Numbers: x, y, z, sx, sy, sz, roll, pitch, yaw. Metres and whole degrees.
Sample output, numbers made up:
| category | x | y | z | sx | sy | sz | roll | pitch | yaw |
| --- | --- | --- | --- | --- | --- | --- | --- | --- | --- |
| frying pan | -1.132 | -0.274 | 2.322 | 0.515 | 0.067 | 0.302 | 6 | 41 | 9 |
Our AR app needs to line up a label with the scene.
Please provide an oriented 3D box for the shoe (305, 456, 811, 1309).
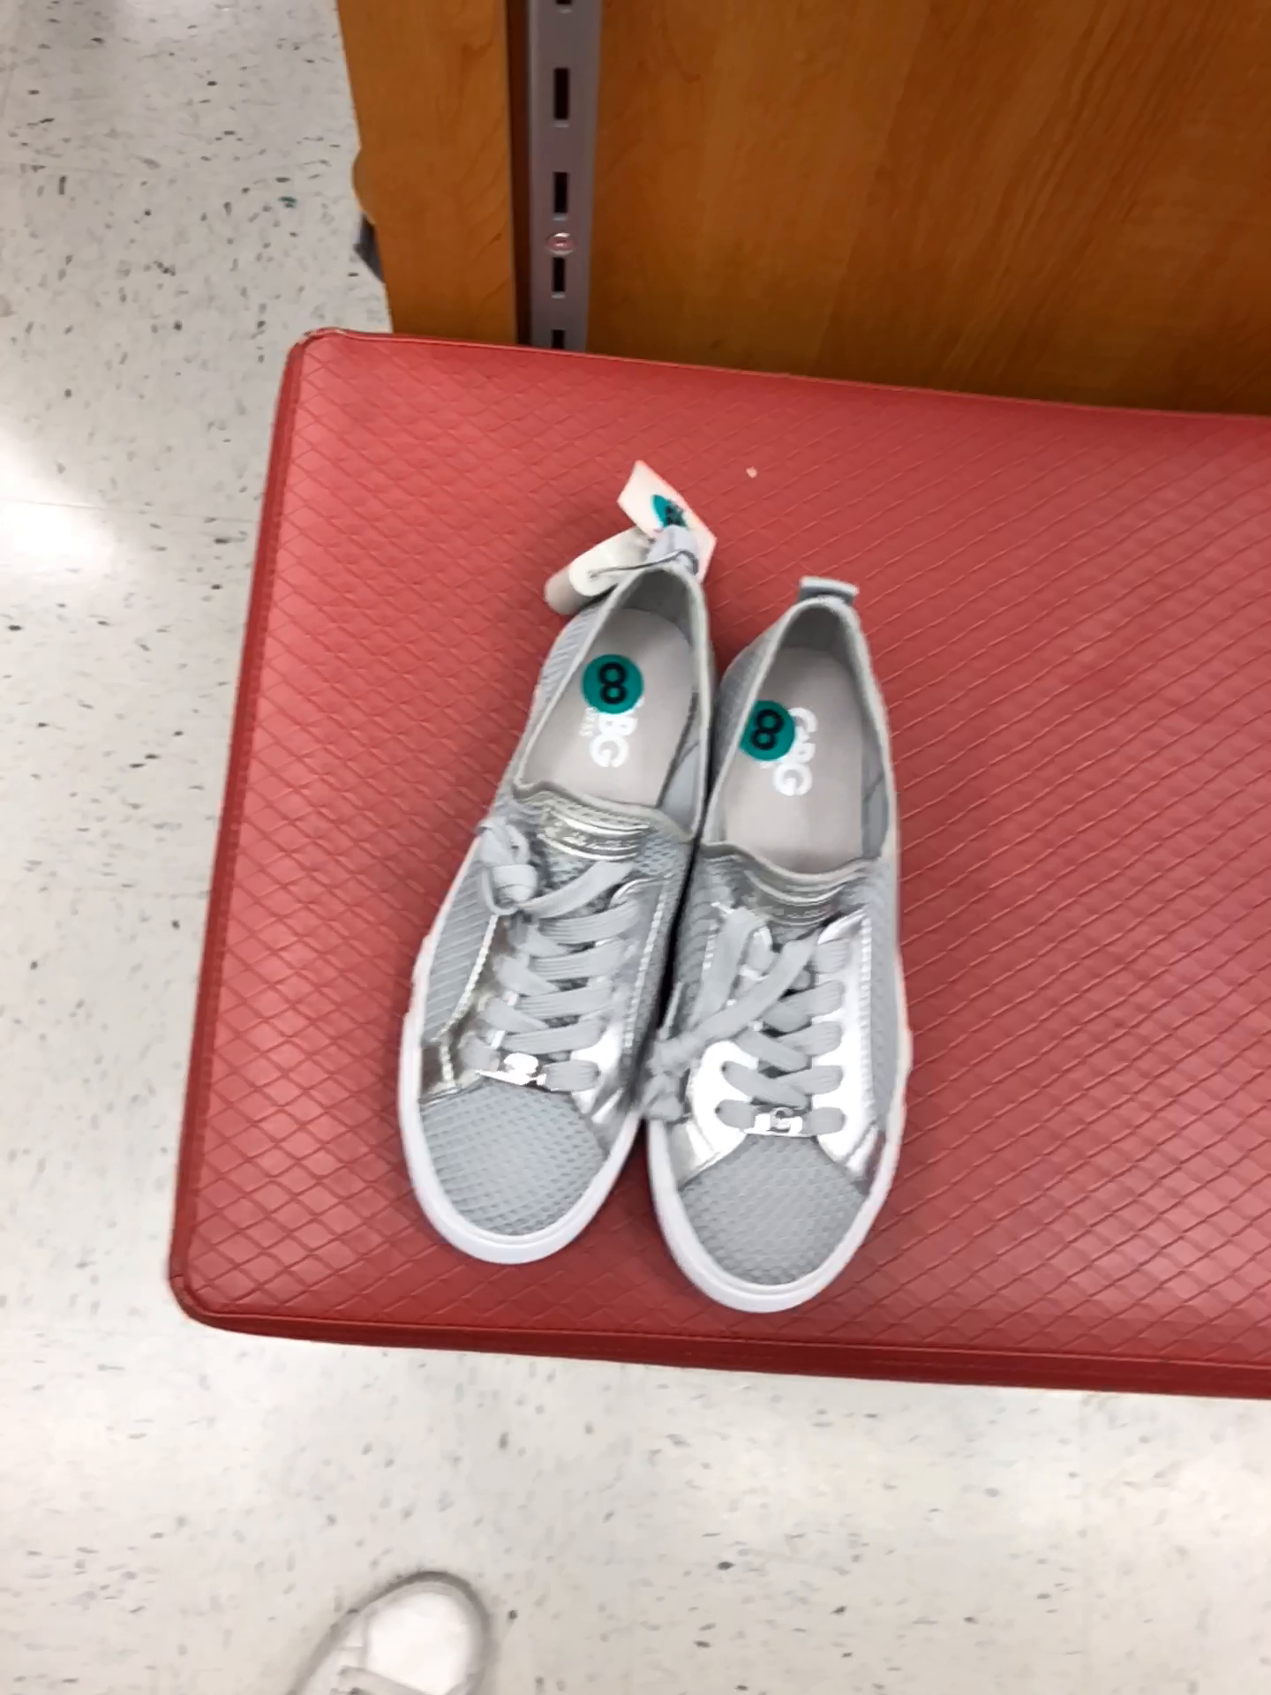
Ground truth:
| category | x | y | z | sx | sy | sz | roll | pitch | yaw |
| --- | --- | --- | --- | --- | --- | --- | --- | --- | --- |
| shoe | -0.022 | 0.013 | 0.504 | 0.106 | 0.097 | 0.268 | 13 | 75 | 0 |

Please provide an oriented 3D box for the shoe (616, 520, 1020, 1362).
| category | x | y | z | sx | sy | sz | roll | pitch | yaw |
| --- | --- | --- | --- | --- | --- | --- | --- | --- | --- |
| shoe | 0.064 | 0.033 | 0.505 | 0.106 | 0.096 | 0.268 | 7 | 75 | -2 |
